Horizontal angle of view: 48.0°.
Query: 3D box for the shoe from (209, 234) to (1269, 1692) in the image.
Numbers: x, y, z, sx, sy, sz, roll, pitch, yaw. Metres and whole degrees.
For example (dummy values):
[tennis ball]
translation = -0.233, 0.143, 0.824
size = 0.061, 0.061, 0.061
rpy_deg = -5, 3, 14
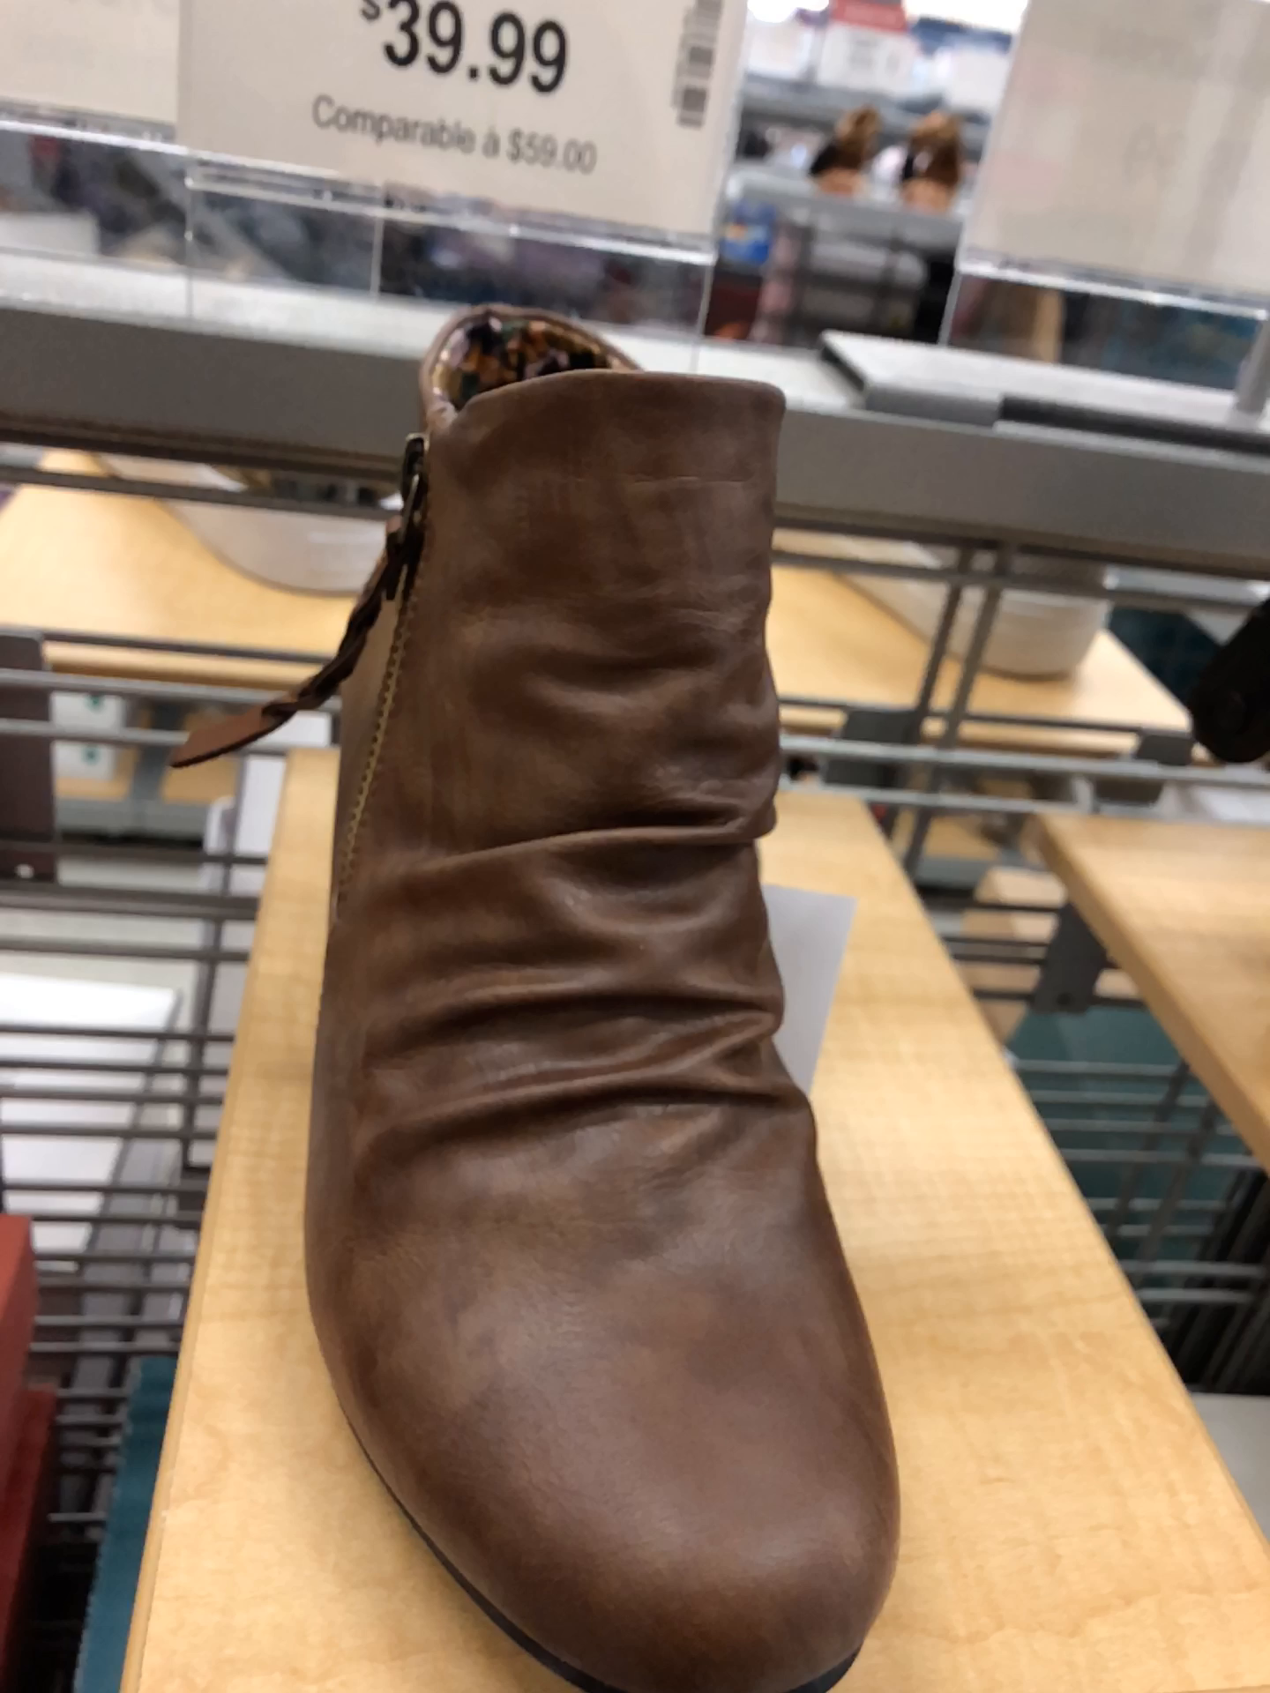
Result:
[shoe]
translation = -0.019, -0.002, 0.237
size = 0.090, 0.139, 0.232
rpy_deg = 2, 31, -16
